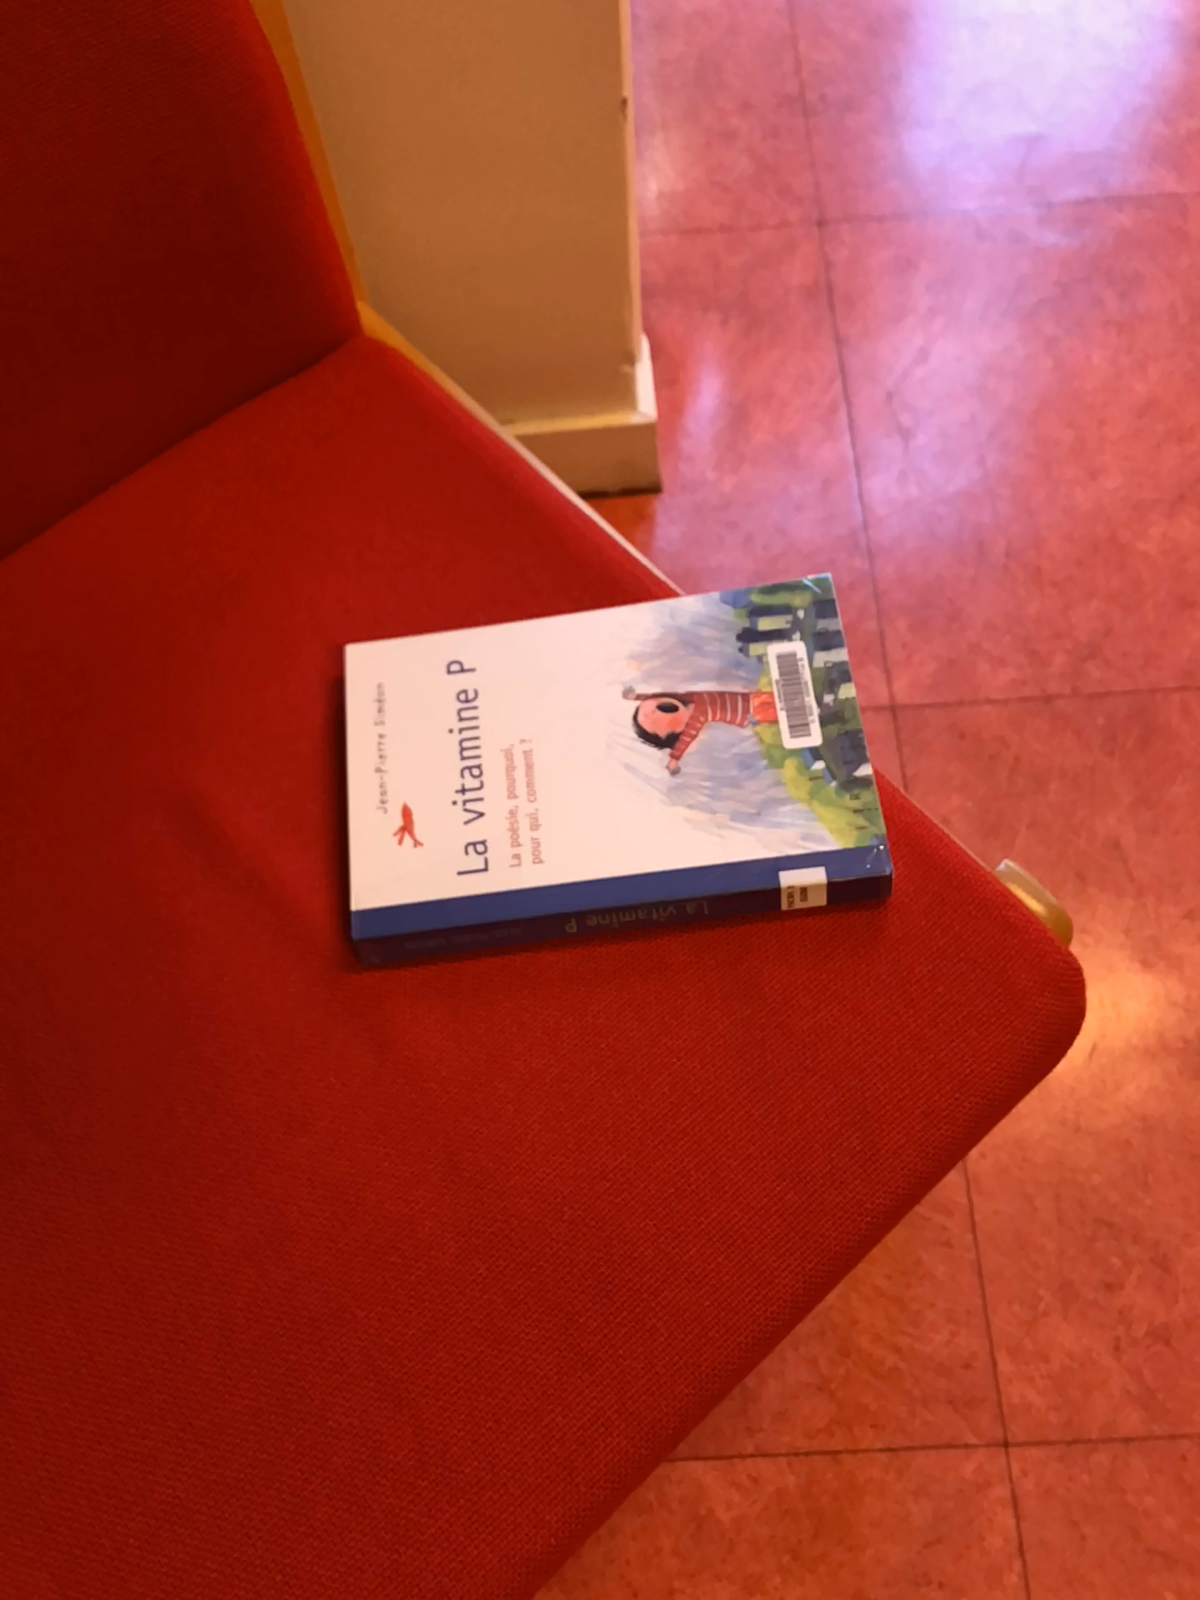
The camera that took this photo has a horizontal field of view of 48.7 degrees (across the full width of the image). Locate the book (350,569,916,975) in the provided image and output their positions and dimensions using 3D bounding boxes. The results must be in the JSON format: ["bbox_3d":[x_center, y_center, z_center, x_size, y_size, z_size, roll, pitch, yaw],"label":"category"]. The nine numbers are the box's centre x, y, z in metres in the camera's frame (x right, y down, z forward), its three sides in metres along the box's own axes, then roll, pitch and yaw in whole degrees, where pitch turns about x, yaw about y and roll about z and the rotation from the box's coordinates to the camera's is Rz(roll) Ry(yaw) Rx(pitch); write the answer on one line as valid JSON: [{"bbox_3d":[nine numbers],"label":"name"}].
[{"bbox_3d":[0.008,-0.015,0.556,0.215,0.027,0.148,-7,65,-1],"label":"book"}]
